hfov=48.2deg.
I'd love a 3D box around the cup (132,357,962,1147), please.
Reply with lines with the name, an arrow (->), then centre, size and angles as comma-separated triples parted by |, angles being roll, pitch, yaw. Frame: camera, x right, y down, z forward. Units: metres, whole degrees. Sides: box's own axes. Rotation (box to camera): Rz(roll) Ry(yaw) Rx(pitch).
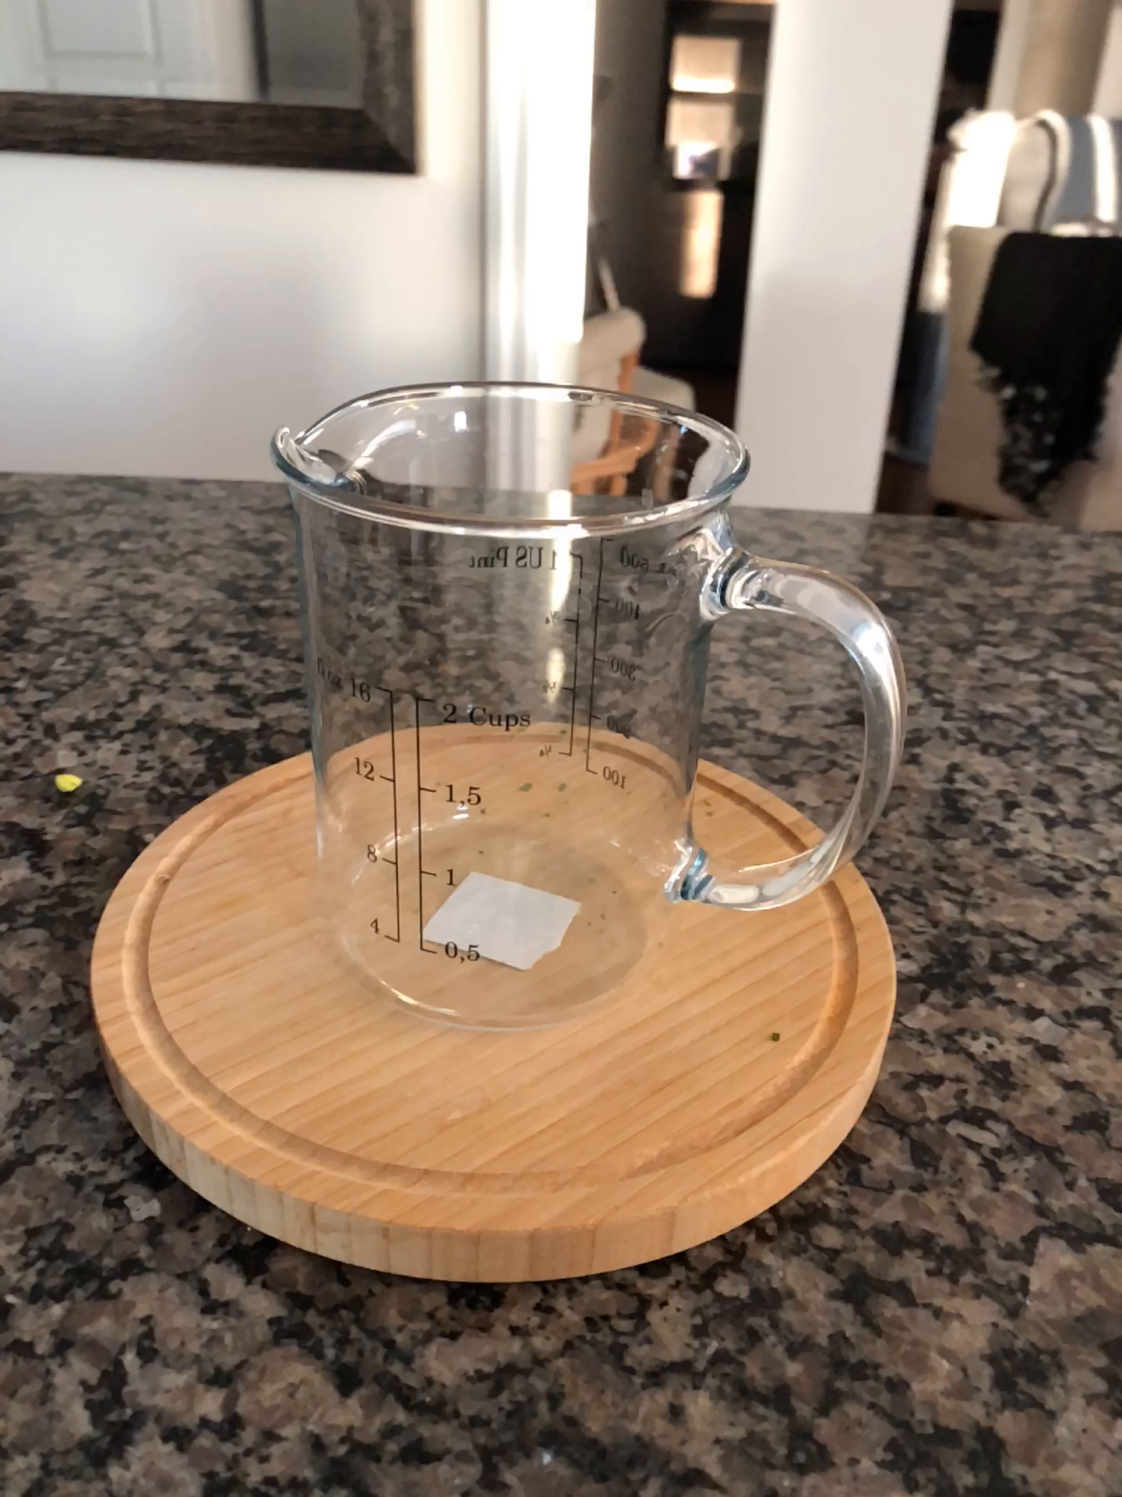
cup -> 0.002, -0.011, 0.301 | 0.150, 0.128, 0.106 | 12, 30, 18
